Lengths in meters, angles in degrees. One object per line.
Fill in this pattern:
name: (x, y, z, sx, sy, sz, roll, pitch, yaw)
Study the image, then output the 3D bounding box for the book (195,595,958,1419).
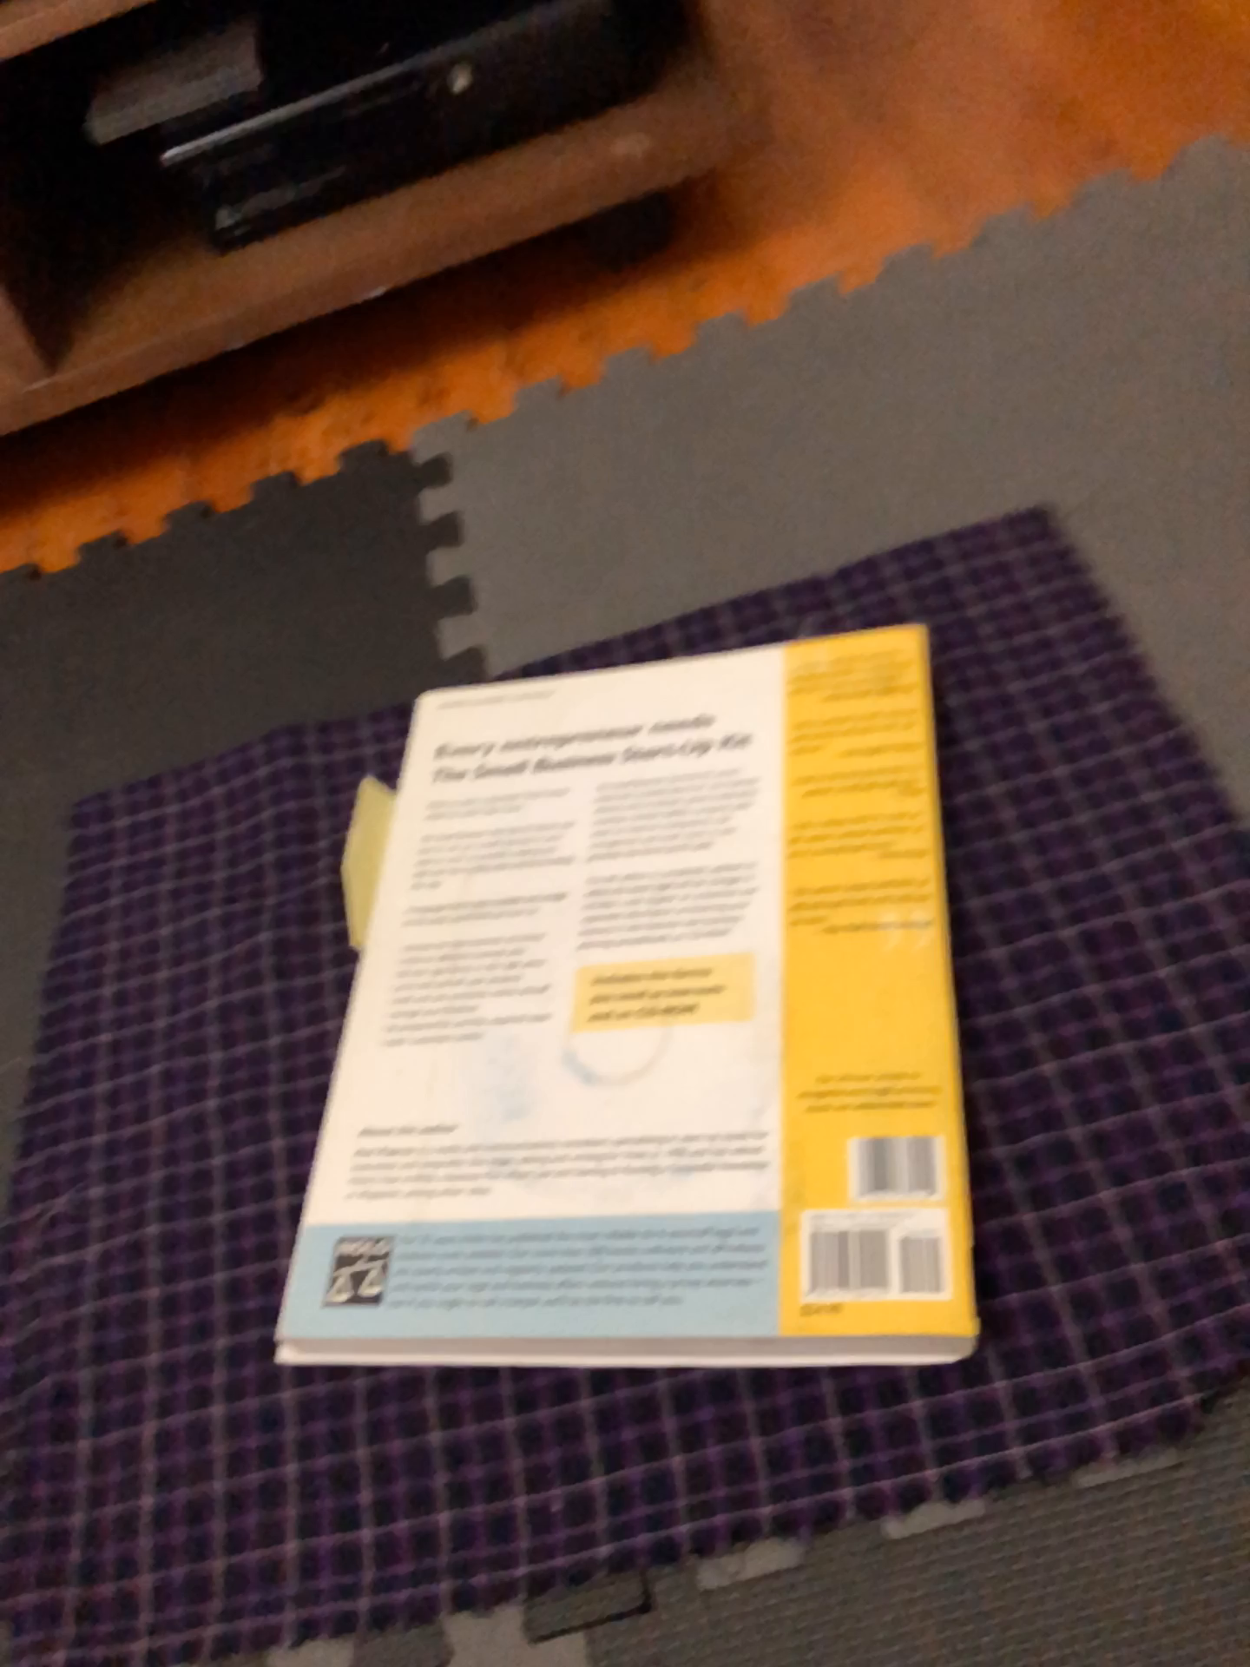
book: (-0.007, 0.045, 0.510, 0.230, 0.030, 0.311, -5, 51, 14)
